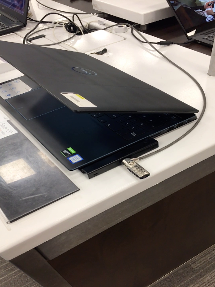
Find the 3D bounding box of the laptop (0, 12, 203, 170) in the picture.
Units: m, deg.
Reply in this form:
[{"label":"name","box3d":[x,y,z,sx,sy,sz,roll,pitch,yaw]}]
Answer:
[{"label":"laptop","box3d":[-0.068,-0.132,0.557,0.252,0.116,0.364,-30,48,-20]}]
